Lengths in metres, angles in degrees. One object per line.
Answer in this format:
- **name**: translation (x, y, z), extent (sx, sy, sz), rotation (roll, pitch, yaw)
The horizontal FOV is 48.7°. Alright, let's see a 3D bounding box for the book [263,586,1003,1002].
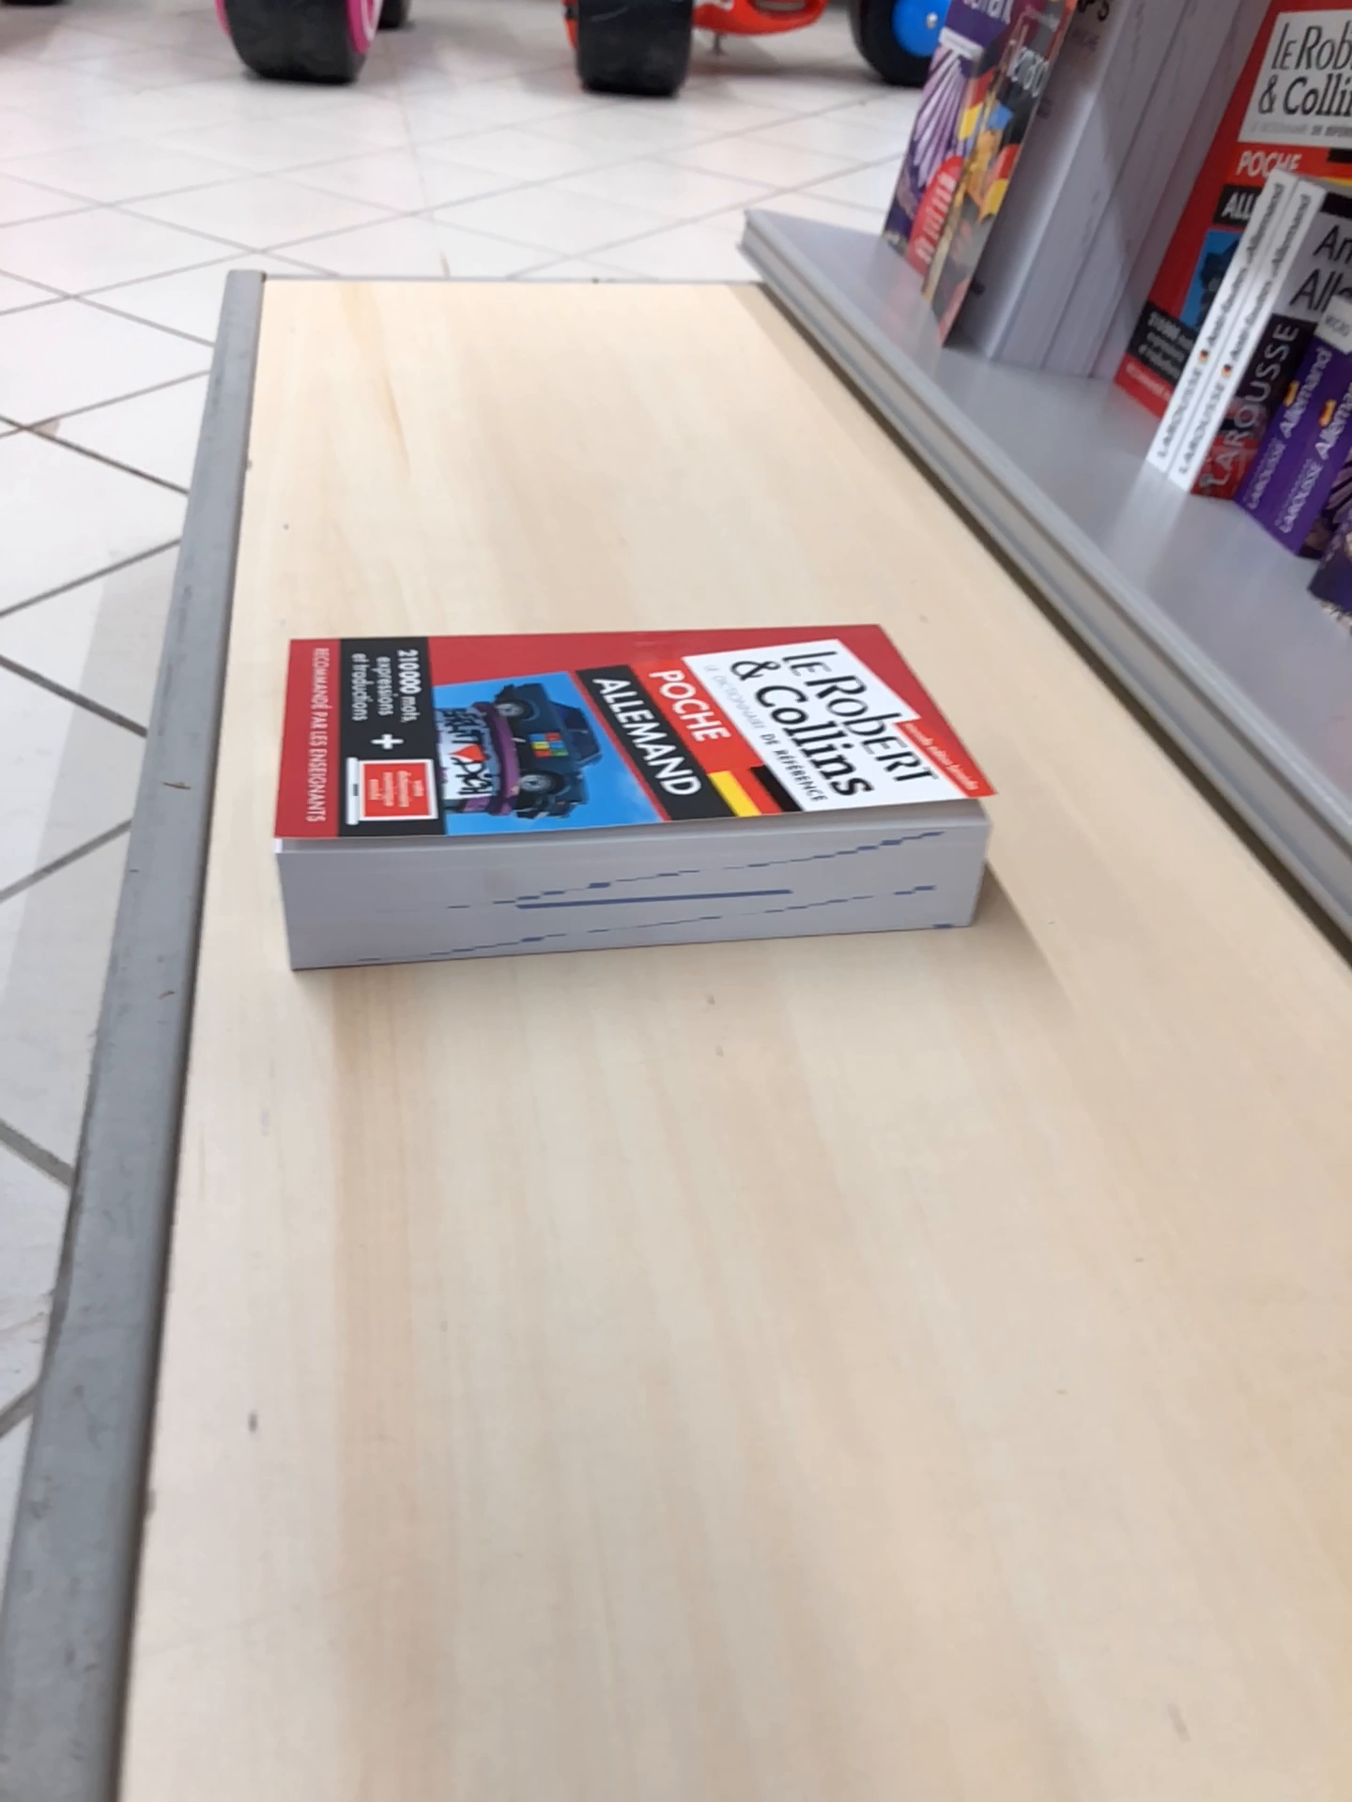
- **book**: translation (-0.016, -0.035, 0.398), extent (0.170, 0.050, 0.111), rotation (-5, 35, -9)
